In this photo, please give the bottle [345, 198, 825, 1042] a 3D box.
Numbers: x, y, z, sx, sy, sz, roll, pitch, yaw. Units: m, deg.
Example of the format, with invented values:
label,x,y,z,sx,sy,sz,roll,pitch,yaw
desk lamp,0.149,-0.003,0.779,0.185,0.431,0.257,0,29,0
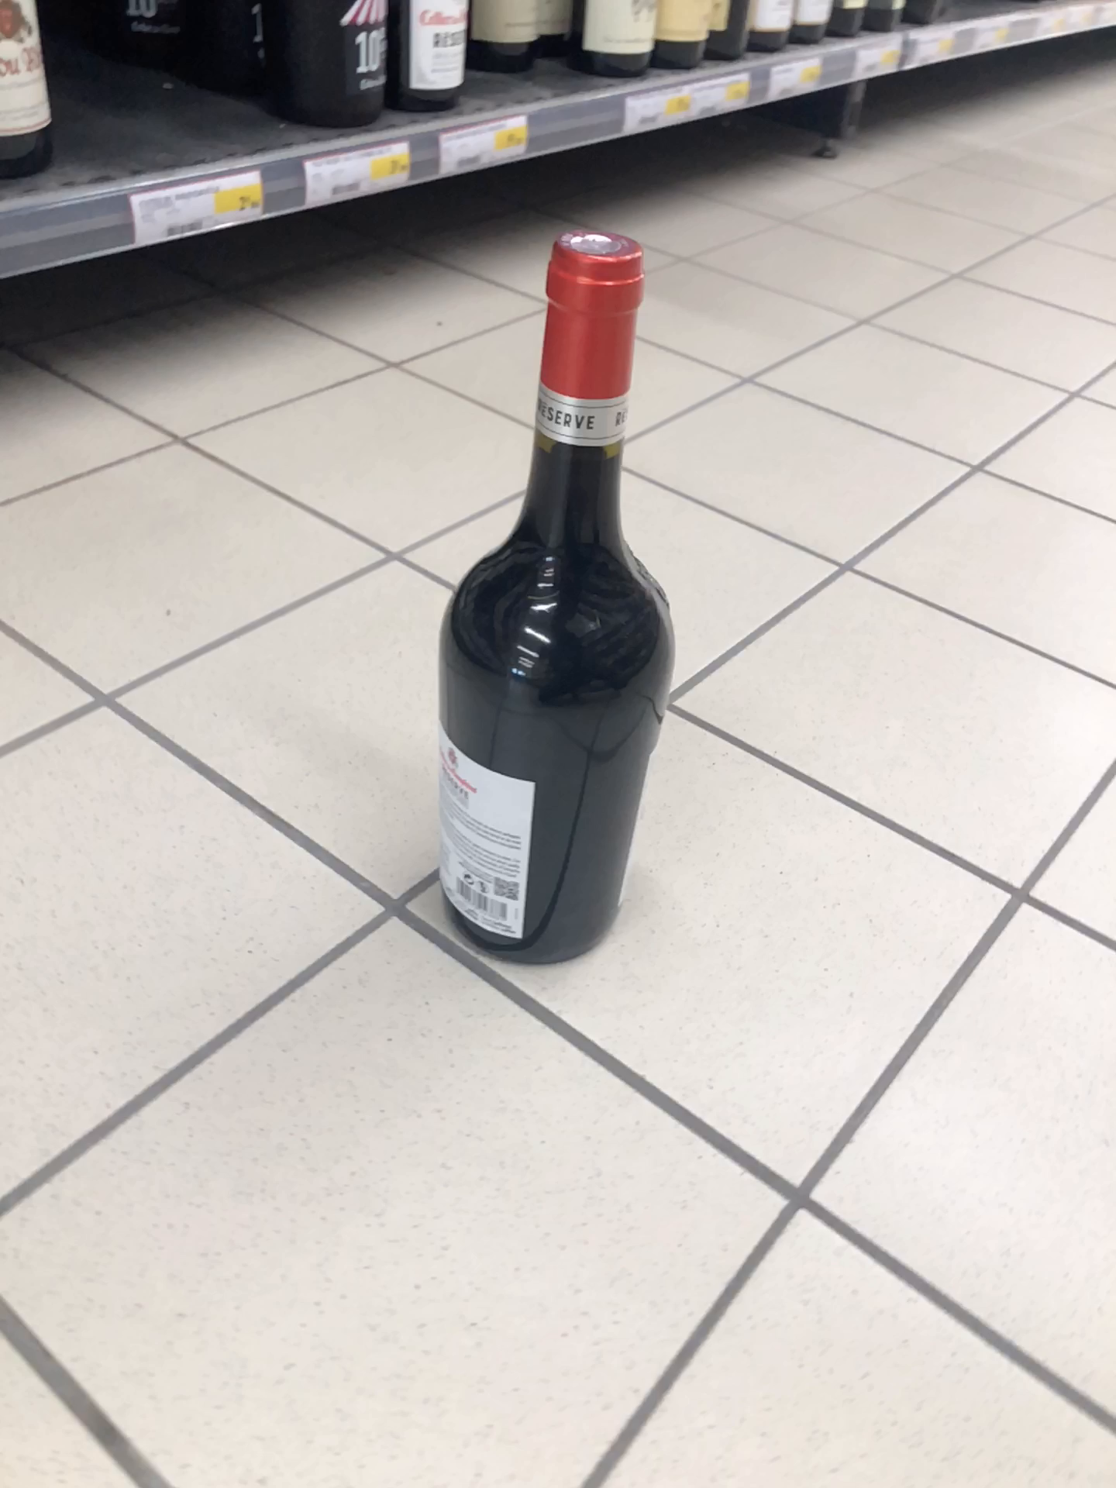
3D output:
label,x,y,z,sx,sy,sz,roll,pitch,yaw
bottle,-0.007,-0.036,0.440,0.100,0.268,0.110,4,38,-3
